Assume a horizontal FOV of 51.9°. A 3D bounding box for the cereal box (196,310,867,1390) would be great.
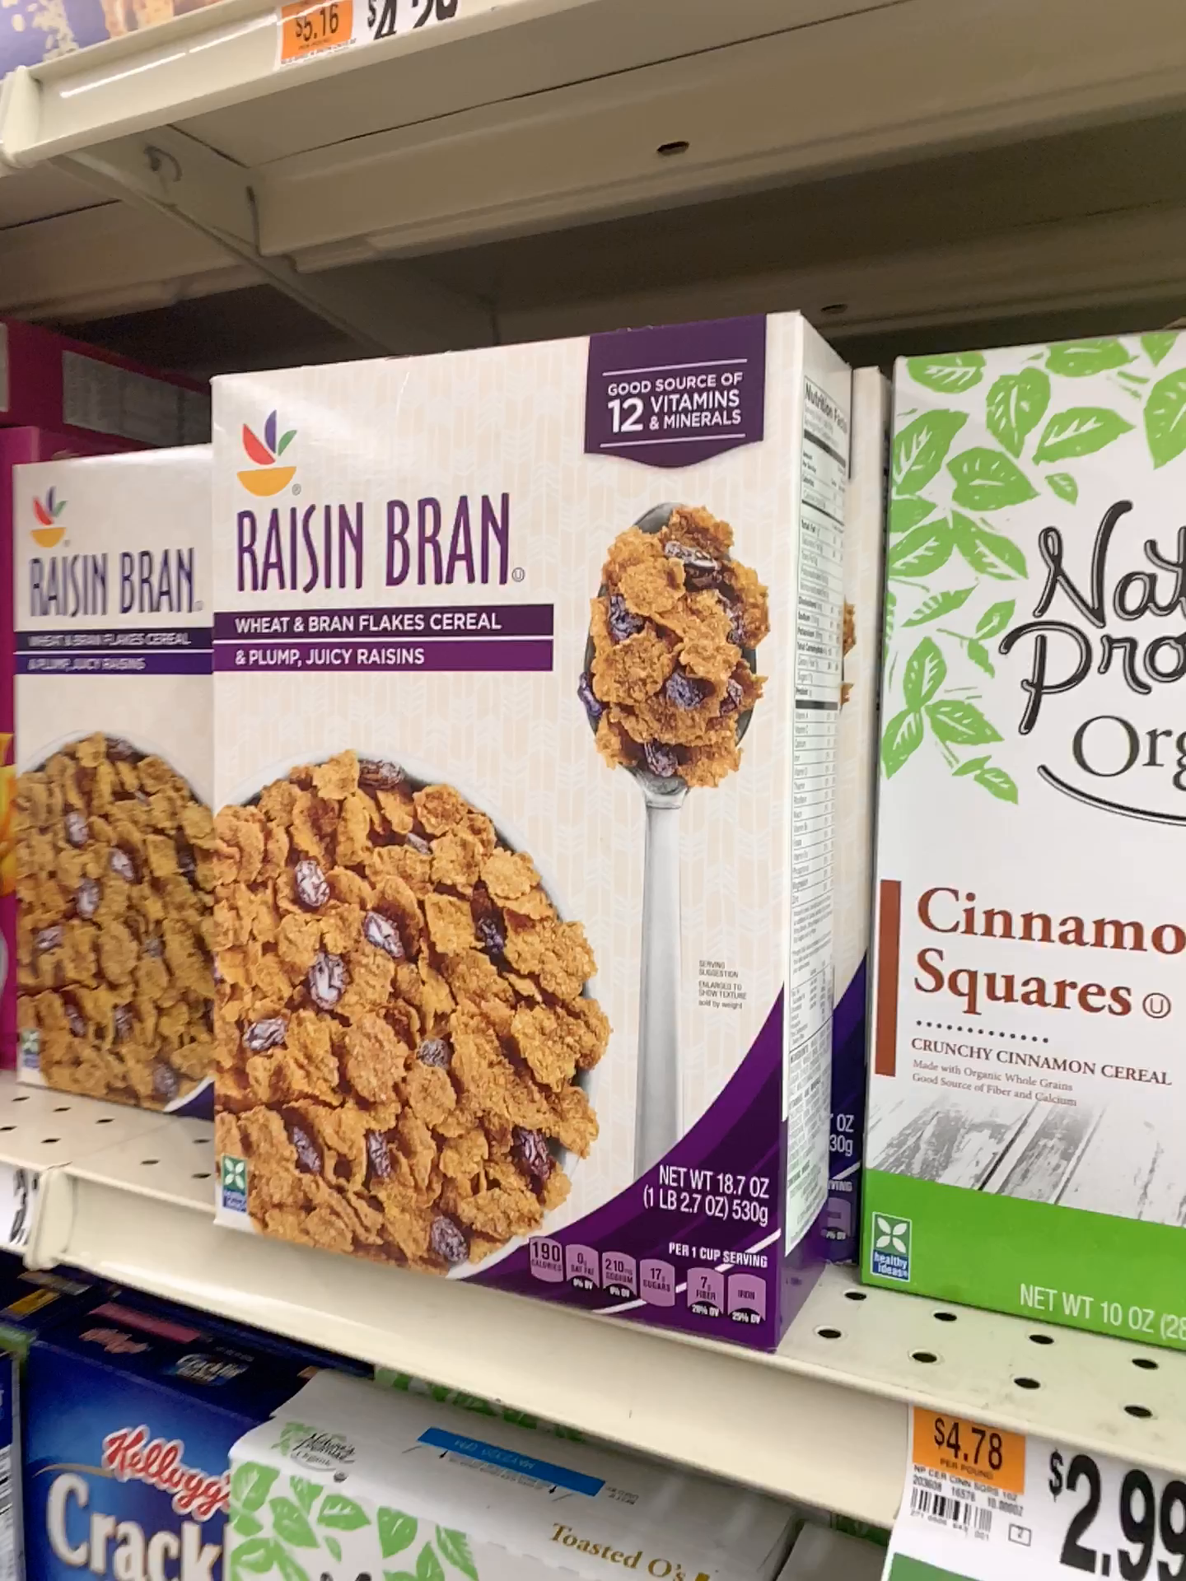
[{"bbox_3d":[-0.022,0.012,0.374,0.190,0.270,0.070,2,4,25],"label":"cereal box"}]
